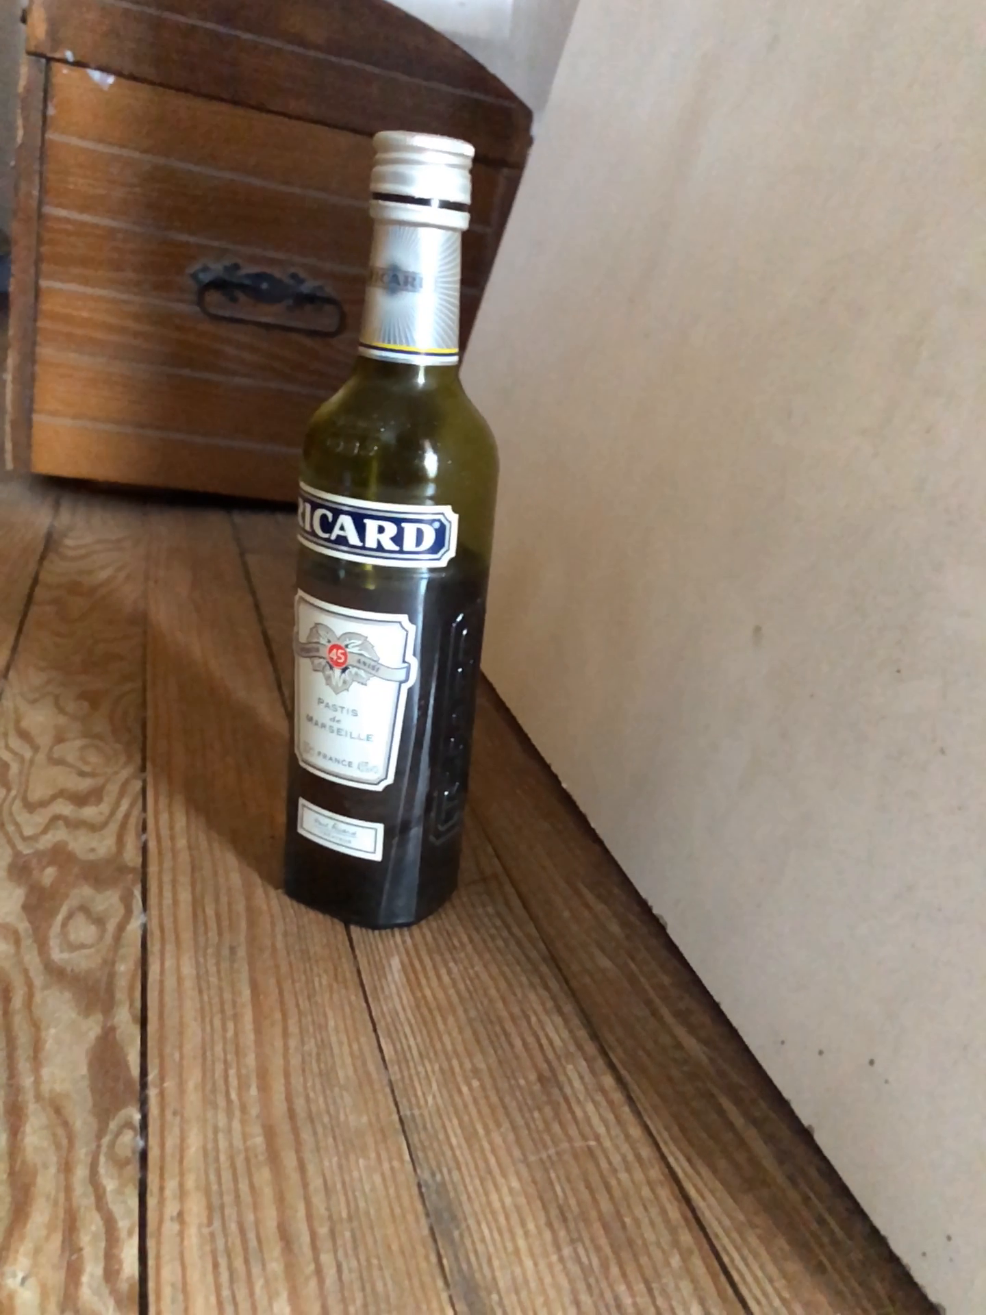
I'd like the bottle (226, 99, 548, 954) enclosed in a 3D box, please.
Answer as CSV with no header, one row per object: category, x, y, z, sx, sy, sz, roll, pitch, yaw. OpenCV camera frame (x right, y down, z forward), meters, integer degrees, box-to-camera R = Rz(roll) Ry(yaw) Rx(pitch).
bottle,-0.040,-0.037,0.364,0.070,0.259,0.060,15,22,23
